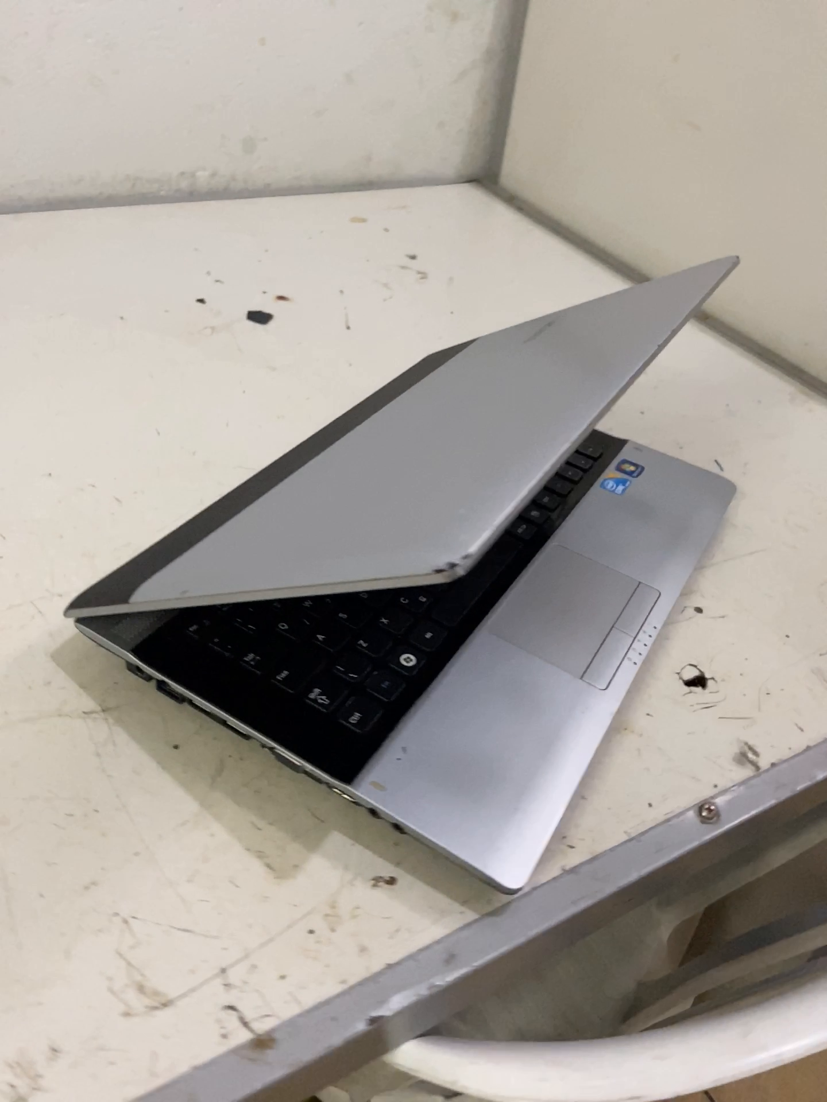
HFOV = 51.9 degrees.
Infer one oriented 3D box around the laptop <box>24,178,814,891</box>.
[{"bbox_3d":[0.032,-0.057,0.434,0.232,0.133,0.338,26,42,19],"label":"laptop"}]
